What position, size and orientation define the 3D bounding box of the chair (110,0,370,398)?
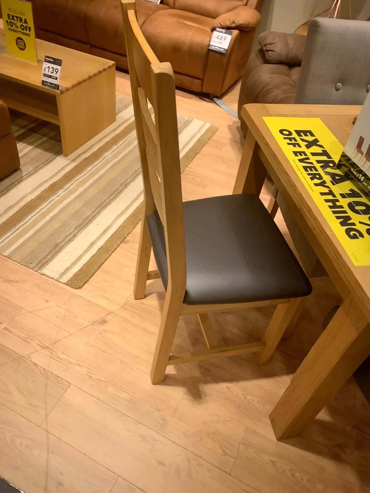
[{"bbox_3d":[0.122,-0.092,1.088,0.577,0.958,0.559,-7,48,-16],"label":"chair"}]
